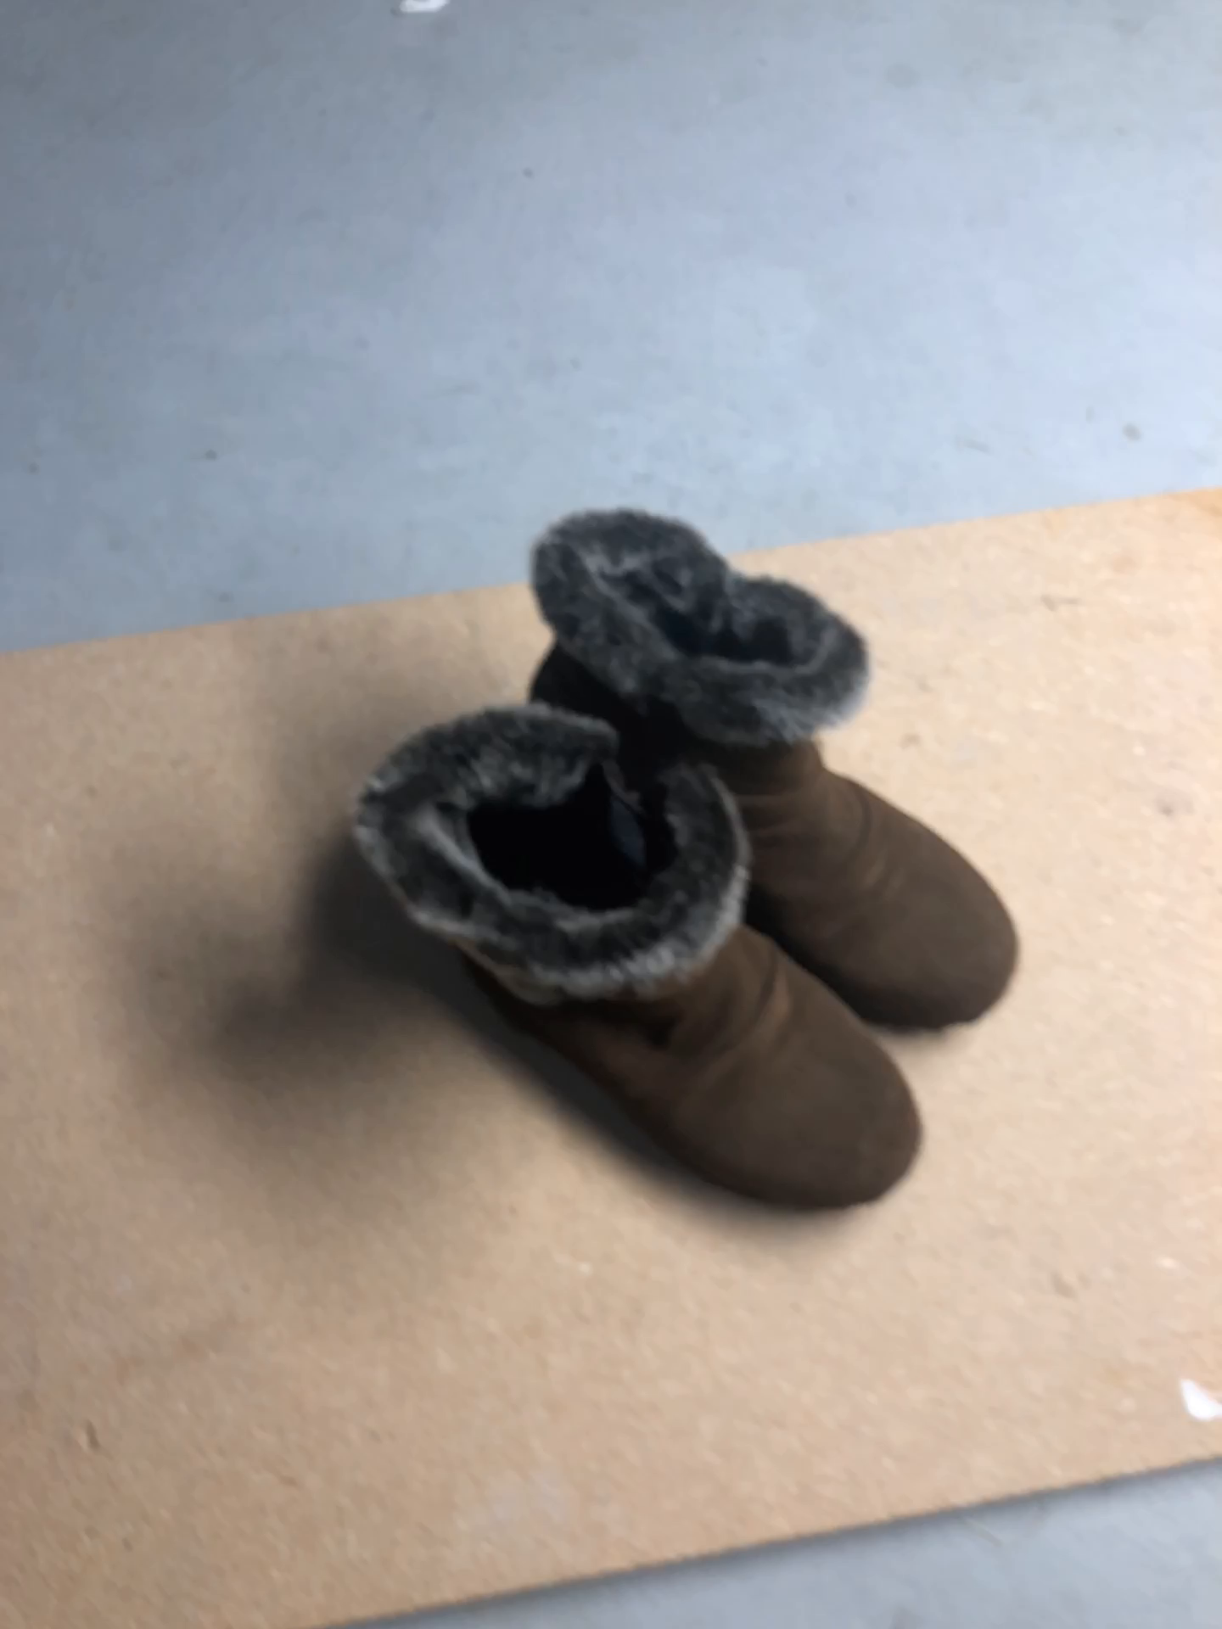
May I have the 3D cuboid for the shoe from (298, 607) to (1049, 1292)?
[{"bbox_3d":[0.017,0.070,0.581,0.250,0.220,0.100,33,68,14],"label":"shoe"}]

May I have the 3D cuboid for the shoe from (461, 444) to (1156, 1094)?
[{"bbox_3d":[0.073,-0.011,0.632,0.260,0.200,0.100,33,68,14],"label":"shoe"}]
